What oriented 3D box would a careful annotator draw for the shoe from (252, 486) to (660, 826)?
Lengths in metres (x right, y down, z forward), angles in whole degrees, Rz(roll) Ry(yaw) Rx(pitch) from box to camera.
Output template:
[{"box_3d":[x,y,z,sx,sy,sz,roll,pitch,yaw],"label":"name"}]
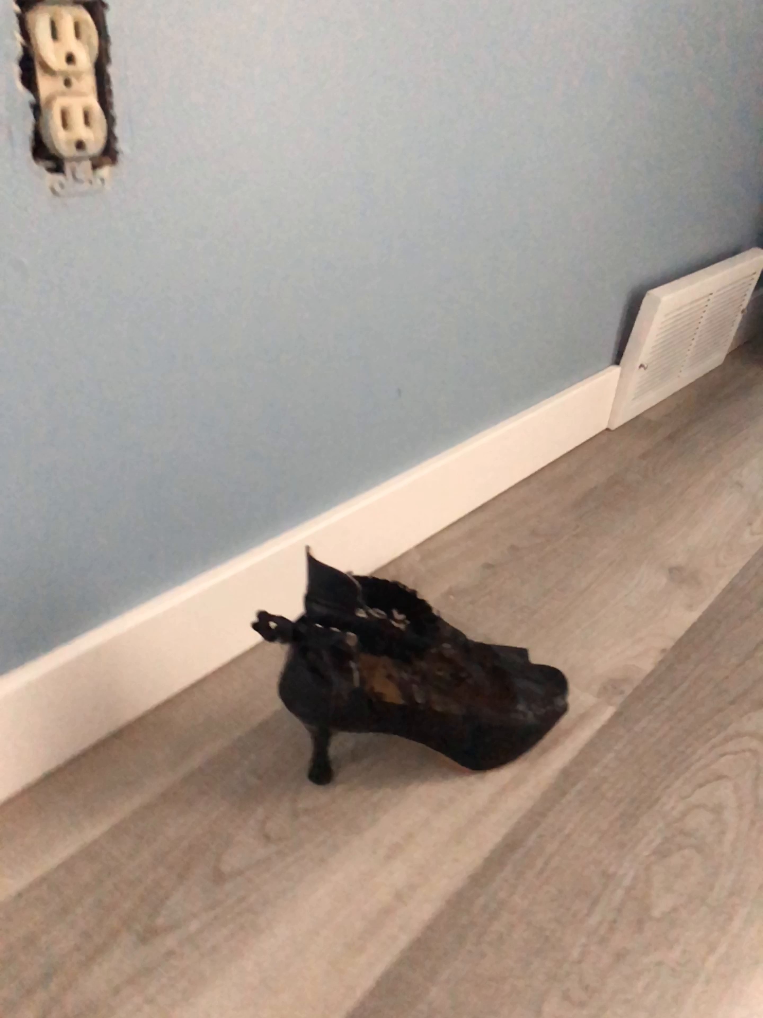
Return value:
[{"box_3d":[0.039,0.085,0.531,0.220,0.139,0.100,-9,34,-20],"label":"shoe"}]
